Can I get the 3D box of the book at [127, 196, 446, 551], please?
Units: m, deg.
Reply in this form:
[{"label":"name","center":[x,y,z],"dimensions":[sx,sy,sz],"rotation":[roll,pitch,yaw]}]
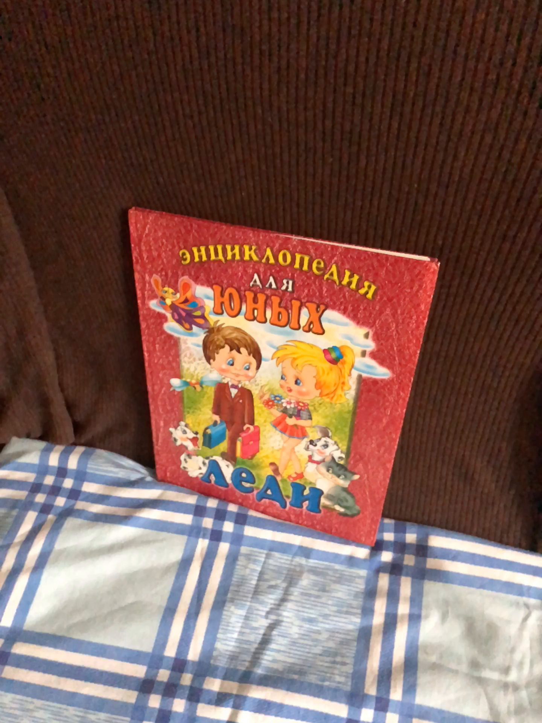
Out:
[{"label":"book","center":[-0.002,0.027,0.513],"dimensions":[0.230,0.303,0.020],"rotation":[13,36,12]}]
